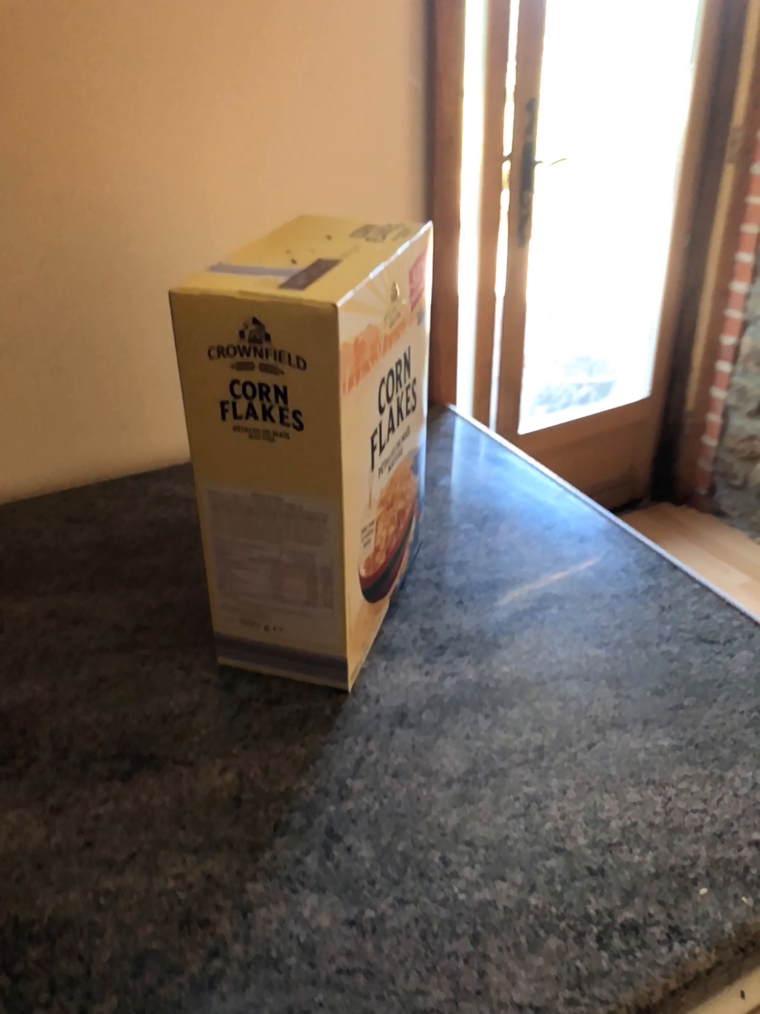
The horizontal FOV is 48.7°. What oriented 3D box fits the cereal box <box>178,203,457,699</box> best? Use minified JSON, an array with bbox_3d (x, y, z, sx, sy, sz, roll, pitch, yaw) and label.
[{"bbox_3d":[-0.025,-0.047,0.561,0.100,0.258,0.201,9,30,15],"label":"cereal box"}]
